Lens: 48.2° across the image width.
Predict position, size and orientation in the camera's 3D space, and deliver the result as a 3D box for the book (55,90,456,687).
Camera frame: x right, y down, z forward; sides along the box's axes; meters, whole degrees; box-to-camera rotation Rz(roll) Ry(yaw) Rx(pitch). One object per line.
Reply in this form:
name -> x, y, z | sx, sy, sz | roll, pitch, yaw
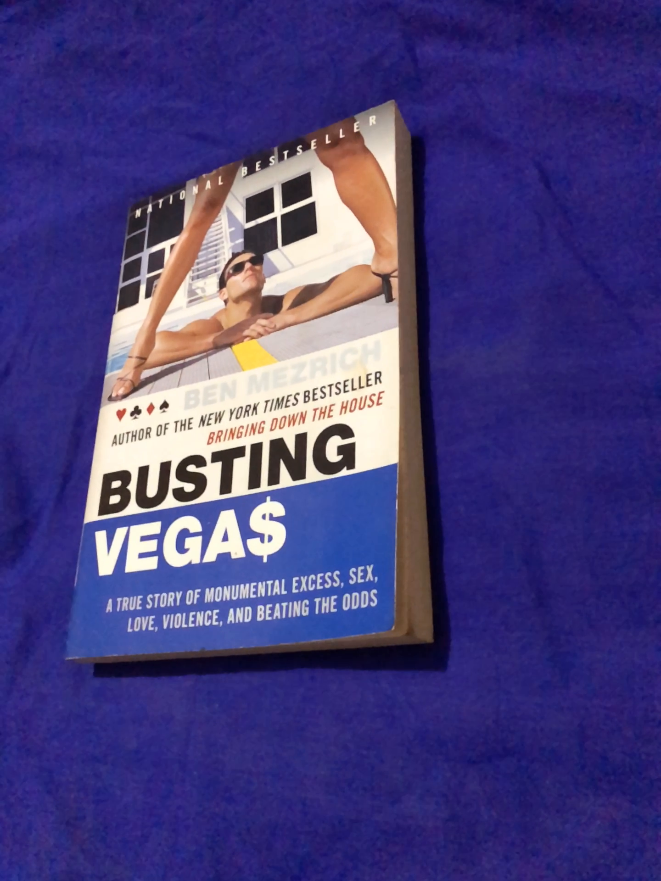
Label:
book -> -0.026, -0.019, 0.284 | 0.130, 0.040, 0.210 | -11, 63, 26
